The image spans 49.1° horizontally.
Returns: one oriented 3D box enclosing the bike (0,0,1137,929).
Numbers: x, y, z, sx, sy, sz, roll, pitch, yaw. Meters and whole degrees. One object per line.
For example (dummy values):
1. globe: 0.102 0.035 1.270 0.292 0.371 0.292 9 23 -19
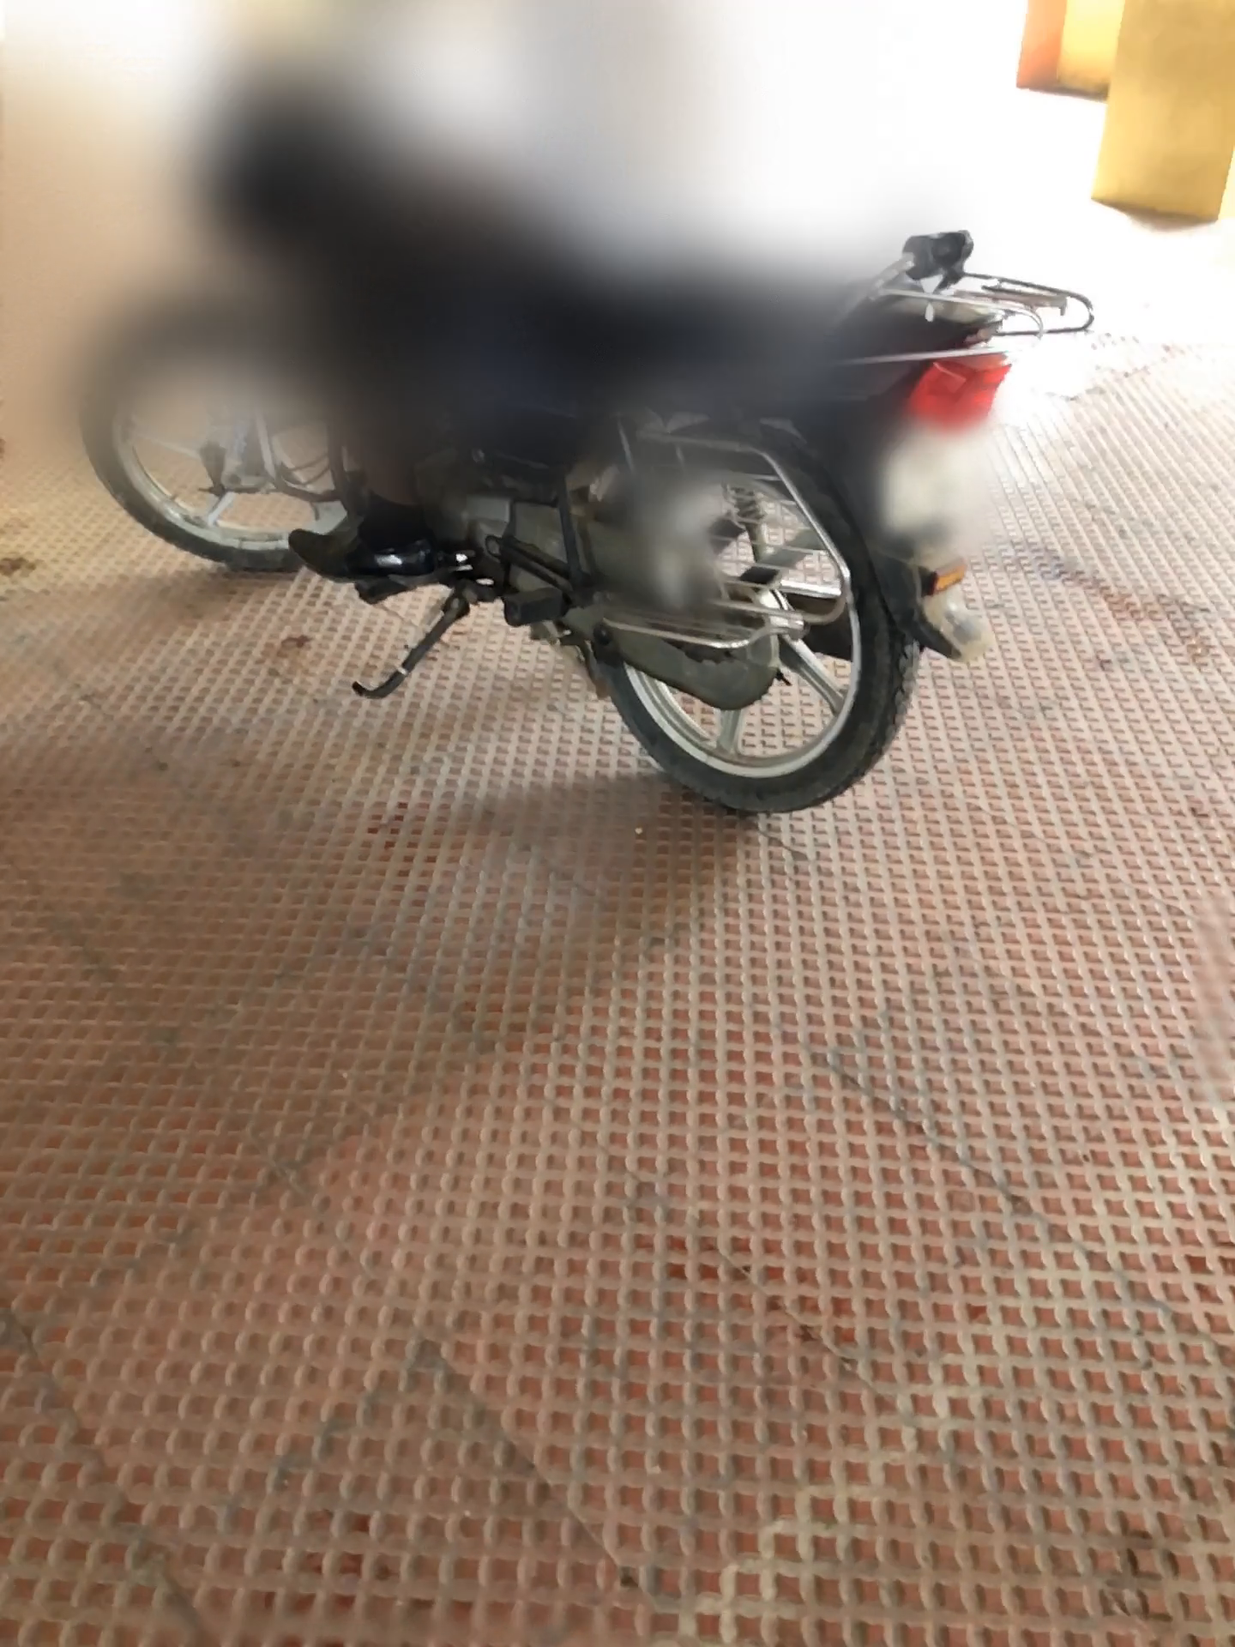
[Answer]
1. bike: -0.223 -0.778 2.205 1.707 1.107 0.688 23 42 26
